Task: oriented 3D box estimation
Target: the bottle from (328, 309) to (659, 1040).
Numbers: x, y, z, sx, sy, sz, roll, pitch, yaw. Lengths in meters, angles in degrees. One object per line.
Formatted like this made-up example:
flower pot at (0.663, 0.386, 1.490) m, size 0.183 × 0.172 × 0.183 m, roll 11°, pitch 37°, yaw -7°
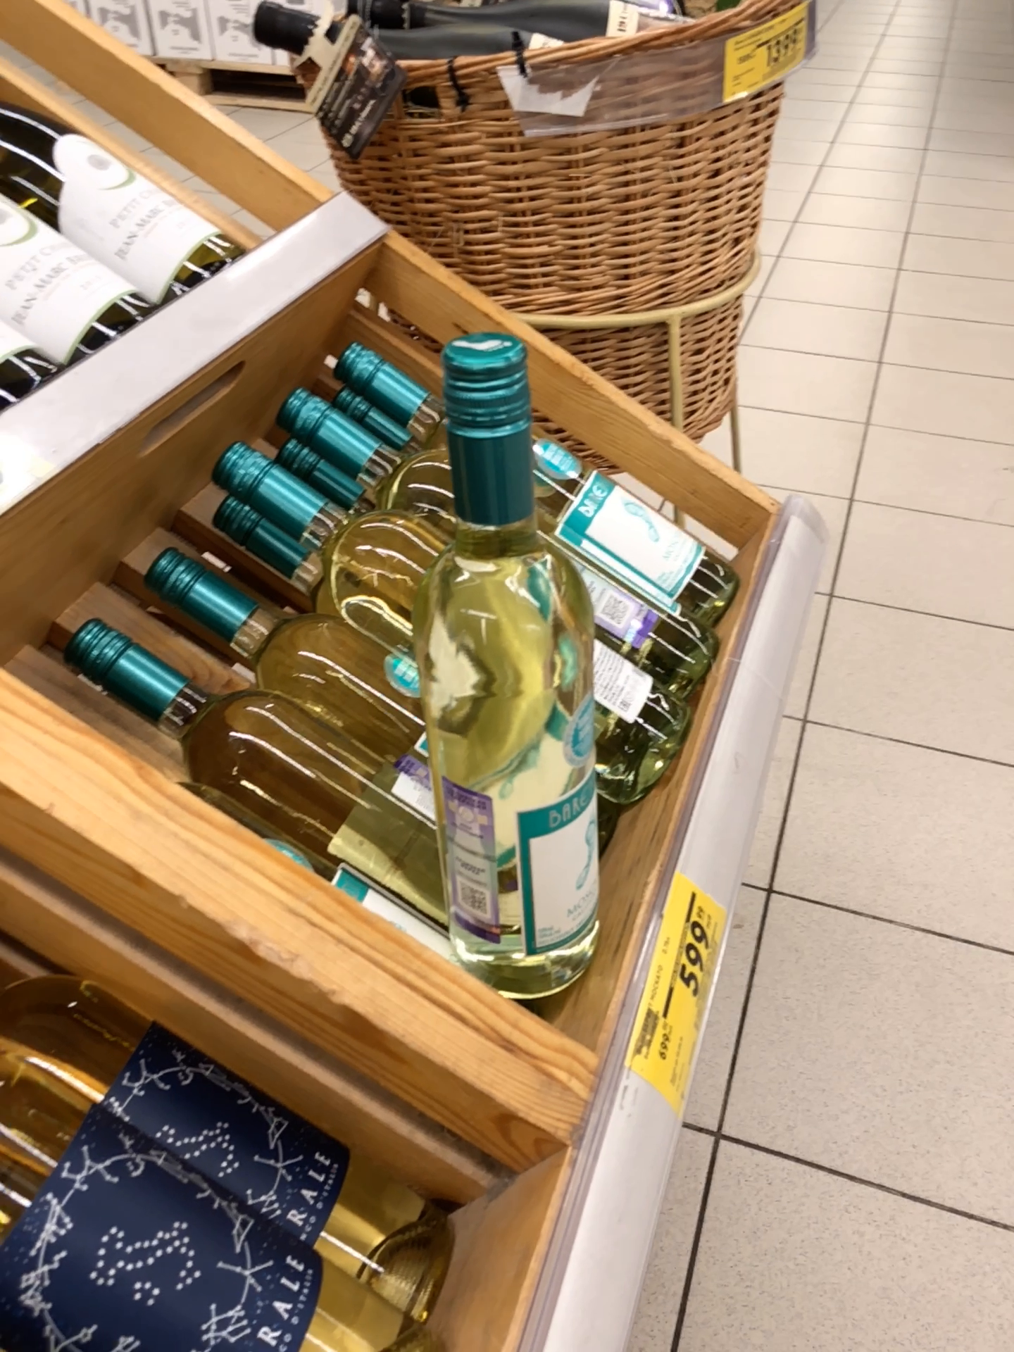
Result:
bottle at (0.007, 0.013, 0.448) m, size 0.080 × 0.288 × 0.080 m, roll -3°, pitch 36°, yaw 2°
